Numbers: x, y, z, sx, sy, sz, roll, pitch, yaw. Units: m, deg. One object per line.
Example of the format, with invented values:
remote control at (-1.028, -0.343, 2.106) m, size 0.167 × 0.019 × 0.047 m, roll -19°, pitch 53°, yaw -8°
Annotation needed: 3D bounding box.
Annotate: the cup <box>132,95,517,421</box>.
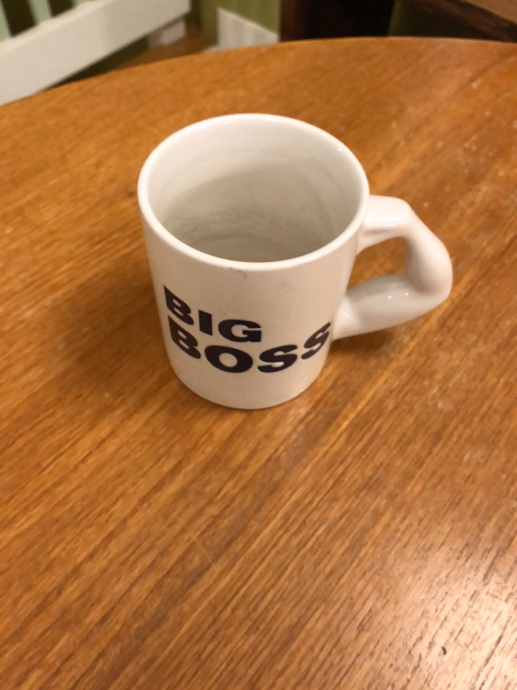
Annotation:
cup at (0.022, -0.035, 0.254) m, size 0.138 × 0.100 × 0.088 m, roll -5°, pitch 56°, yaw -5°
